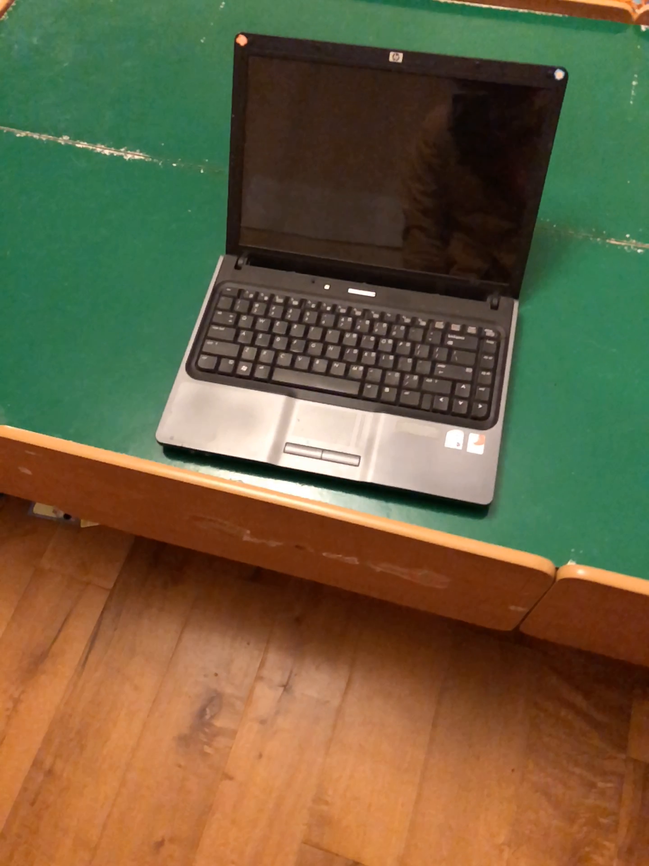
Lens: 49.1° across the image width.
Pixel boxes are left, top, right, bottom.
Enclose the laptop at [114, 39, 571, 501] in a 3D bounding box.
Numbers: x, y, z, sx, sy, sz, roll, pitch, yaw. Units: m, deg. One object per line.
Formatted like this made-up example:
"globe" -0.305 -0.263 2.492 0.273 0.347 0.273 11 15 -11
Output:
"laptop" 0.039 -0.168 0.692 0.323 0.172 0.375 11 63 8
